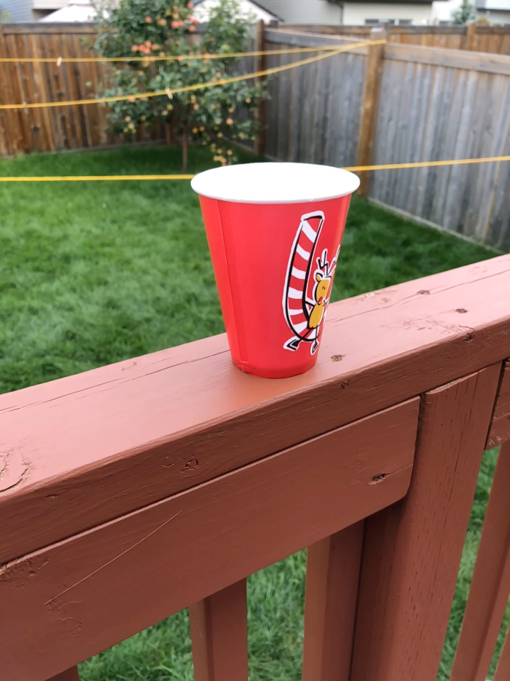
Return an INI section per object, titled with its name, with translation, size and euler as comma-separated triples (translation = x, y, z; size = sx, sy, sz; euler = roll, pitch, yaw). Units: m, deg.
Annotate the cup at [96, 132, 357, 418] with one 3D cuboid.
[cup]
translation = -0.012, -0.038, 0.271
size = 0.080, 0.100, 0.080
euler = 0, 28, 0
